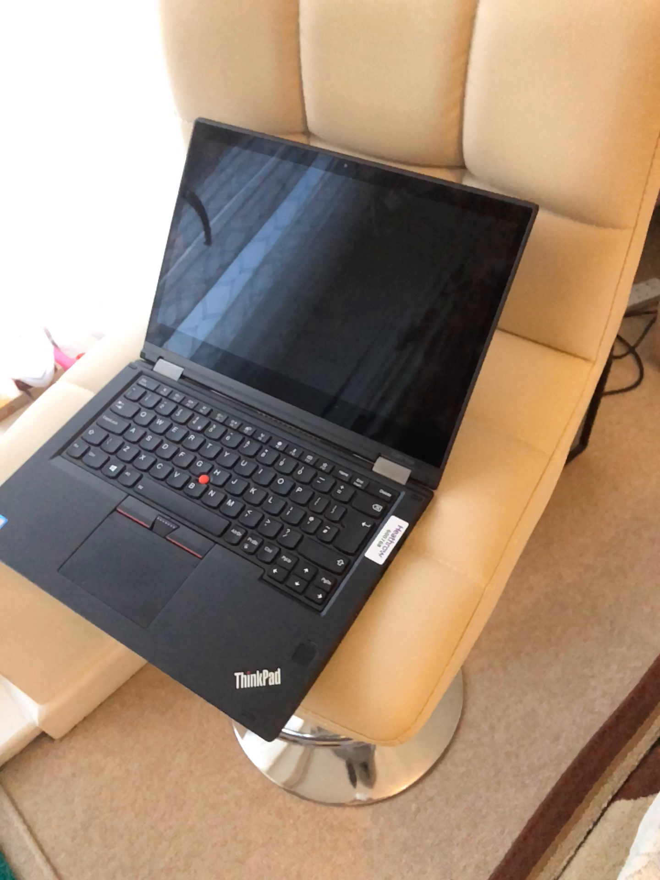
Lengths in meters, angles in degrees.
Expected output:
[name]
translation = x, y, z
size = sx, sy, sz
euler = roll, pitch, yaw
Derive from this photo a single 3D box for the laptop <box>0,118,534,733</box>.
[laptop]
translation = -0.078, -0.047, 0.551
size = 0.309, 0.165, 0.367
euler = 24, 58, 23
